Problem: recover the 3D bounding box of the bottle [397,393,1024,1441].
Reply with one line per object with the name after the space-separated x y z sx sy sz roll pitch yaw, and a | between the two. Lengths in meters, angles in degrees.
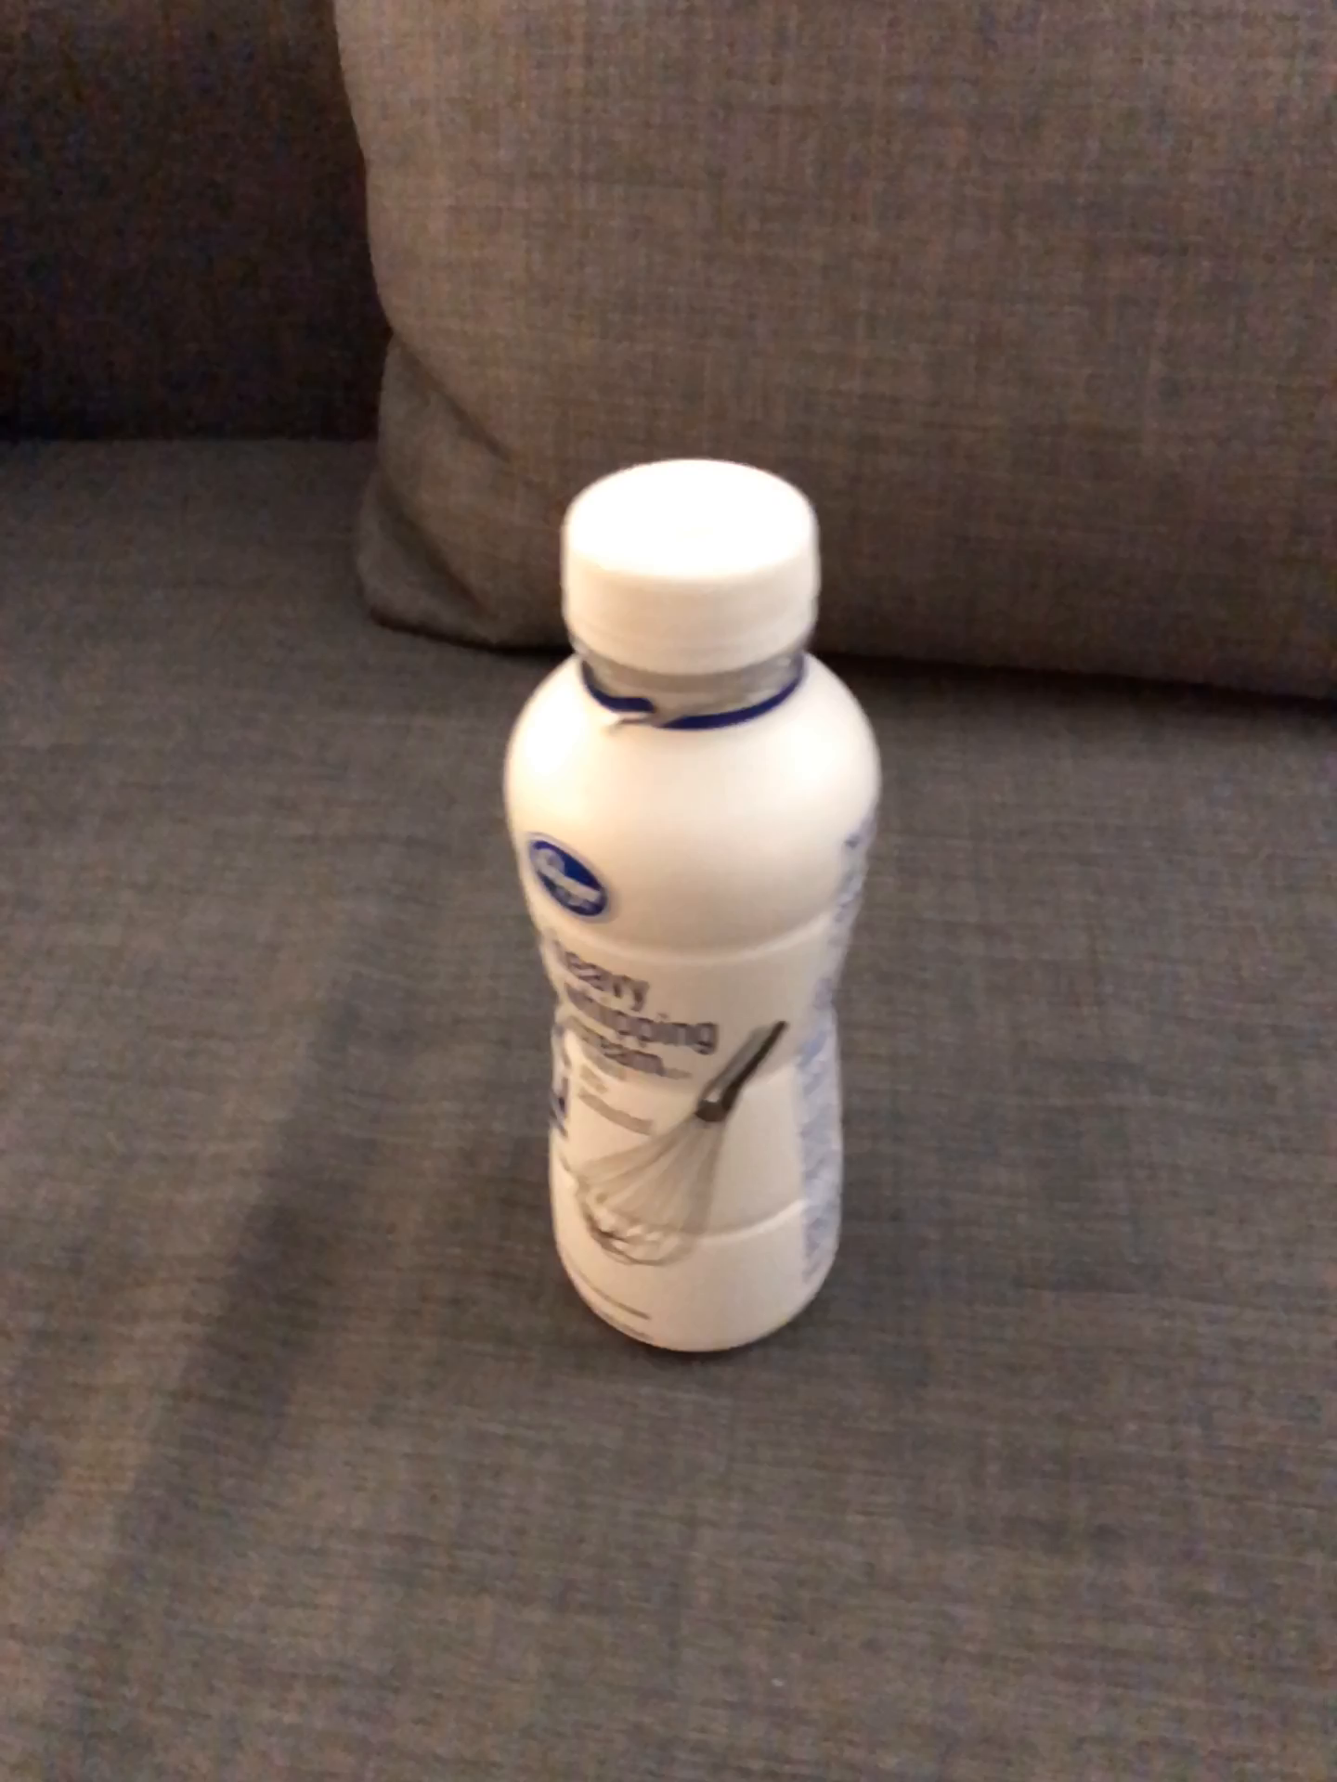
0.010 0.013 0.295 0.070 0.189 0.070 -2 40 2 | bottle
